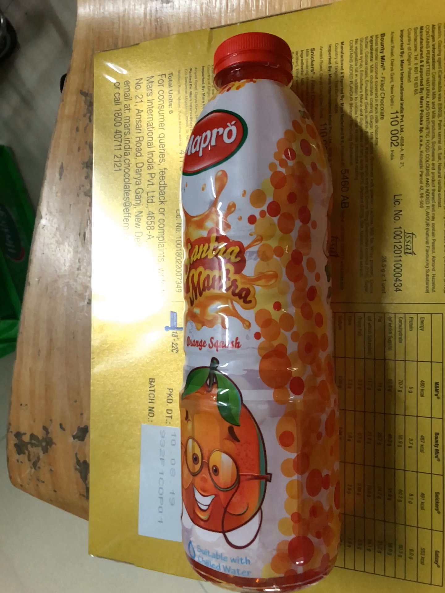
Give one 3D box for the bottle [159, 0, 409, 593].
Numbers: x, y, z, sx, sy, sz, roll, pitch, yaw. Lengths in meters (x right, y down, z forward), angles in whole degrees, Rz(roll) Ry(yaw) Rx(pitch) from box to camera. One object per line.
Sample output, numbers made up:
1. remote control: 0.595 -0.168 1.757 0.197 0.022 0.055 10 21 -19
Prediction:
1. bottle: 0.029 -0.008 0.268 0.090 0.090 0.300 0 92 62
